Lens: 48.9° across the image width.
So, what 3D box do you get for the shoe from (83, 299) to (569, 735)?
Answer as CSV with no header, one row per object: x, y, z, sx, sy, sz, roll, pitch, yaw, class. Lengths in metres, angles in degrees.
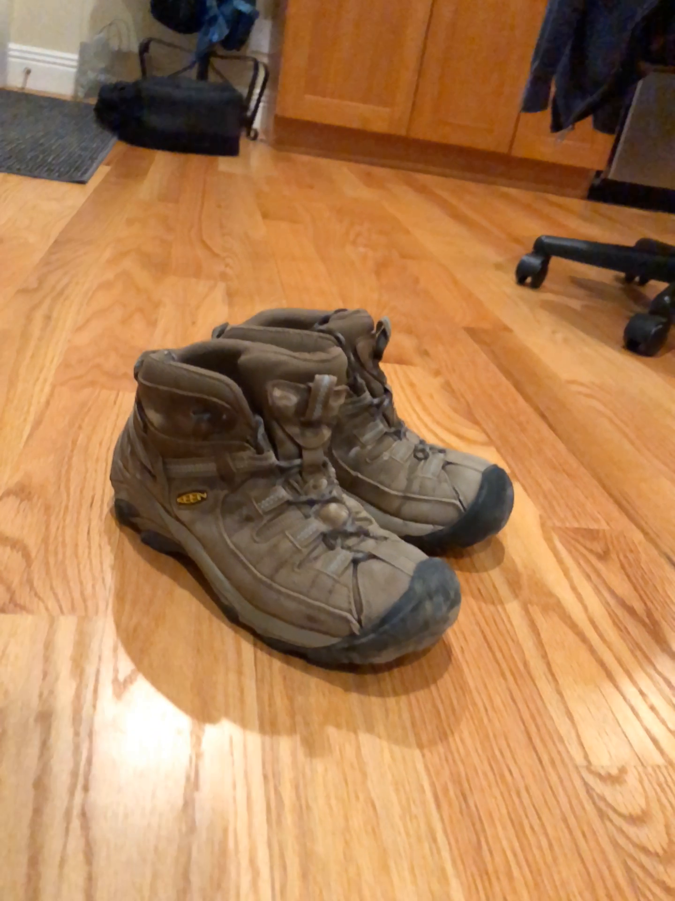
-0.021,0.020,0.449,0.260,0.139,0.108,24,29,25,shoe

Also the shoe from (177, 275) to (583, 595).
0.029,-0.021,0.549,0.259,0.139,0.108,17,27,12,shoe
